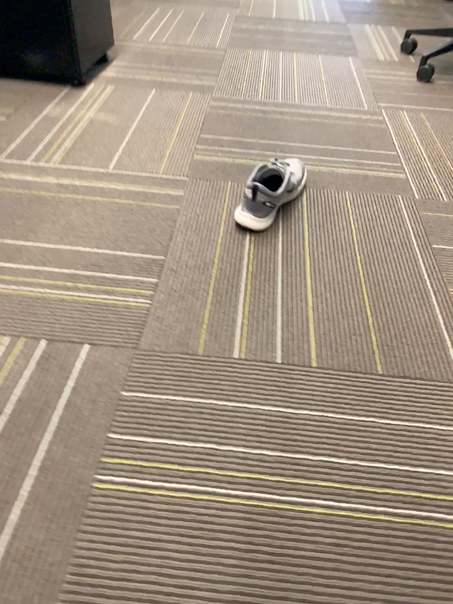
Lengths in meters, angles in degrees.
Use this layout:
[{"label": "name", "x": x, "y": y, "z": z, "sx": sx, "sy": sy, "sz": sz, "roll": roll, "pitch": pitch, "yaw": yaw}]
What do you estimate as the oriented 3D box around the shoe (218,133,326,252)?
[{"label": "shoe", "x": 0.118, "y": -0.280, "z": 1.127, "sx": 0.160, "sy": 0.109, "sz": 0.332, "roll": 18, "pitch": 46, "yaw": 13}]
